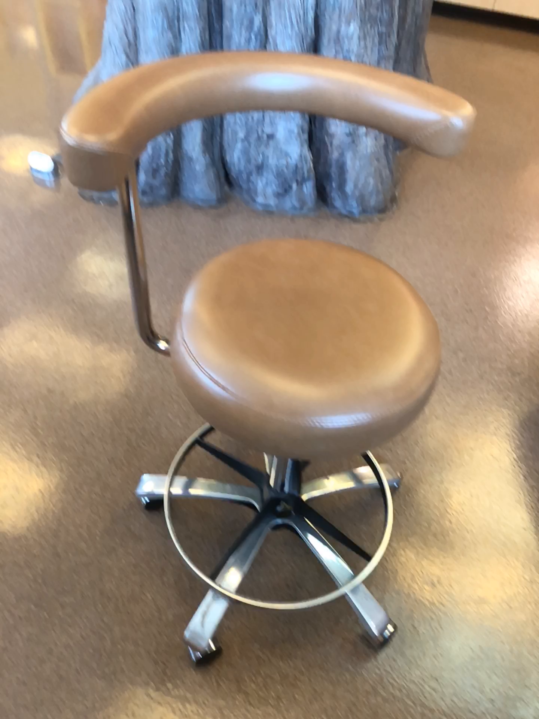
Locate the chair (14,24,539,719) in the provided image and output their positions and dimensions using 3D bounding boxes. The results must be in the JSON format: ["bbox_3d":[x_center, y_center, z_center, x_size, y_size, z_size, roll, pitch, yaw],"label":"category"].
[{"bbox_3d":[0.039,0.035,0.897,0.610,0.805,0.594,-11,47,-16],"label":"chair"}]
